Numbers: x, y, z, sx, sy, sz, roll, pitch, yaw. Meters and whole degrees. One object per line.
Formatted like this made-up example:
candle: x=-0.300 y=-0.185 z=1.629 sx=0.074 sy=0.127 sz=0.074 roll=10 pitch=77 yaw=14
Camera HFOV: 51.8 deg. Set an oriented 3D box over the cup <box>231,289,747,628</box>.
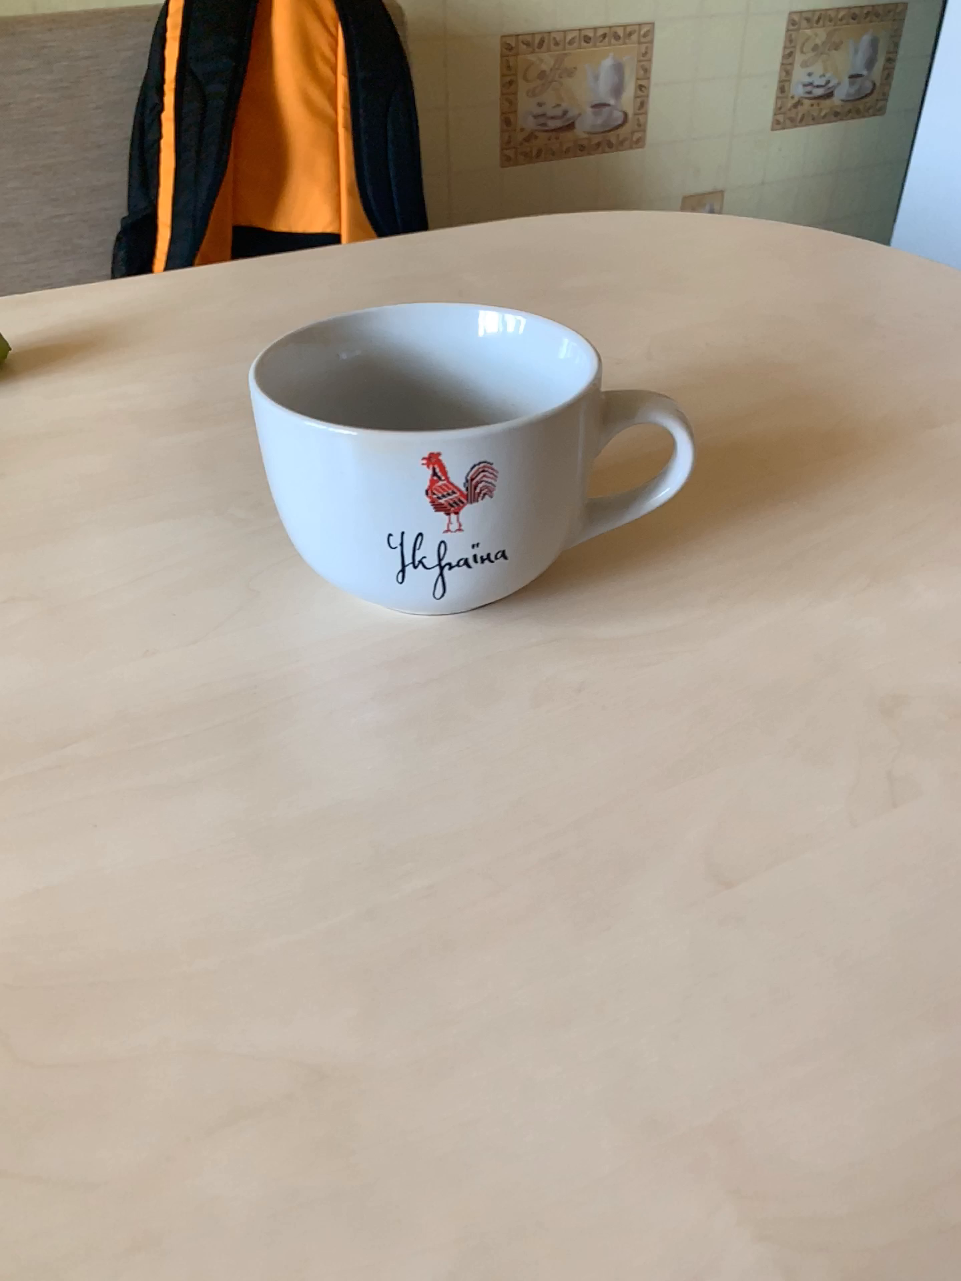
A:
cup: x=0.000 y=-0.061 z=0.307 sx=0.130 sy=0.060 sz=0.100 roll=-3 pitch=37 yaw=-3
